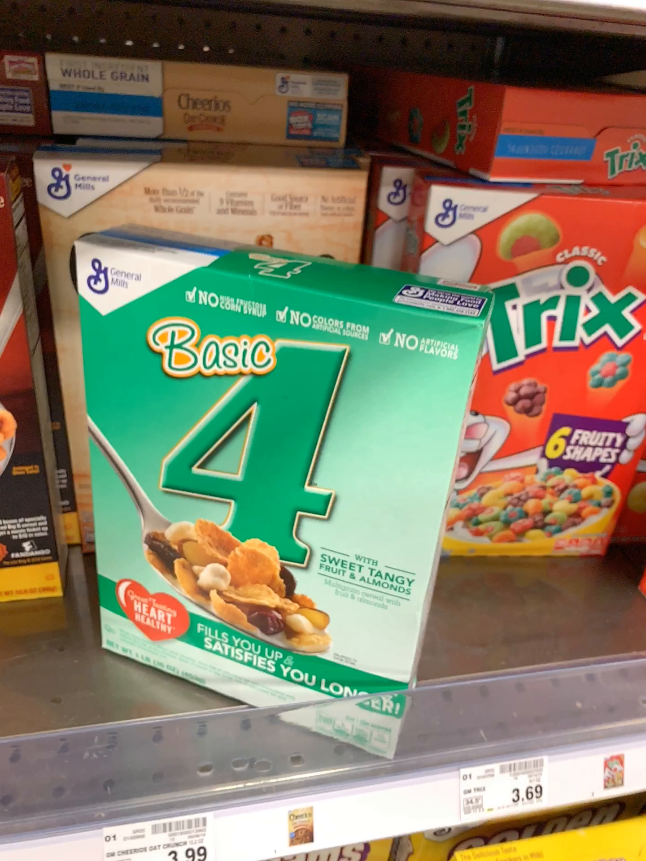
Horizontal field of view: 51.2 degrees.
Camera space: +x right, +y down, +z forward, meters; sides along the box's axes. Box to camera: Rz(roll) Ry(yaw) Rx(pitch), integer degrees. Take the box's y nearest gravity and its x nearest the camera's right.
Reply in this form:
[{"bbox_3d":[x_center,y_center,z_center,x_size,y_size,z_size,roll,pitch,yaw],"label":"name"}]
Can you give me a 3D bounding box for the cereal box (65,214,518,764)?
[{"bbox_3d":[-0.028,0.036,0.362,0.200,0.259,0.050,14,28,15],"label":"cereal box"}]
